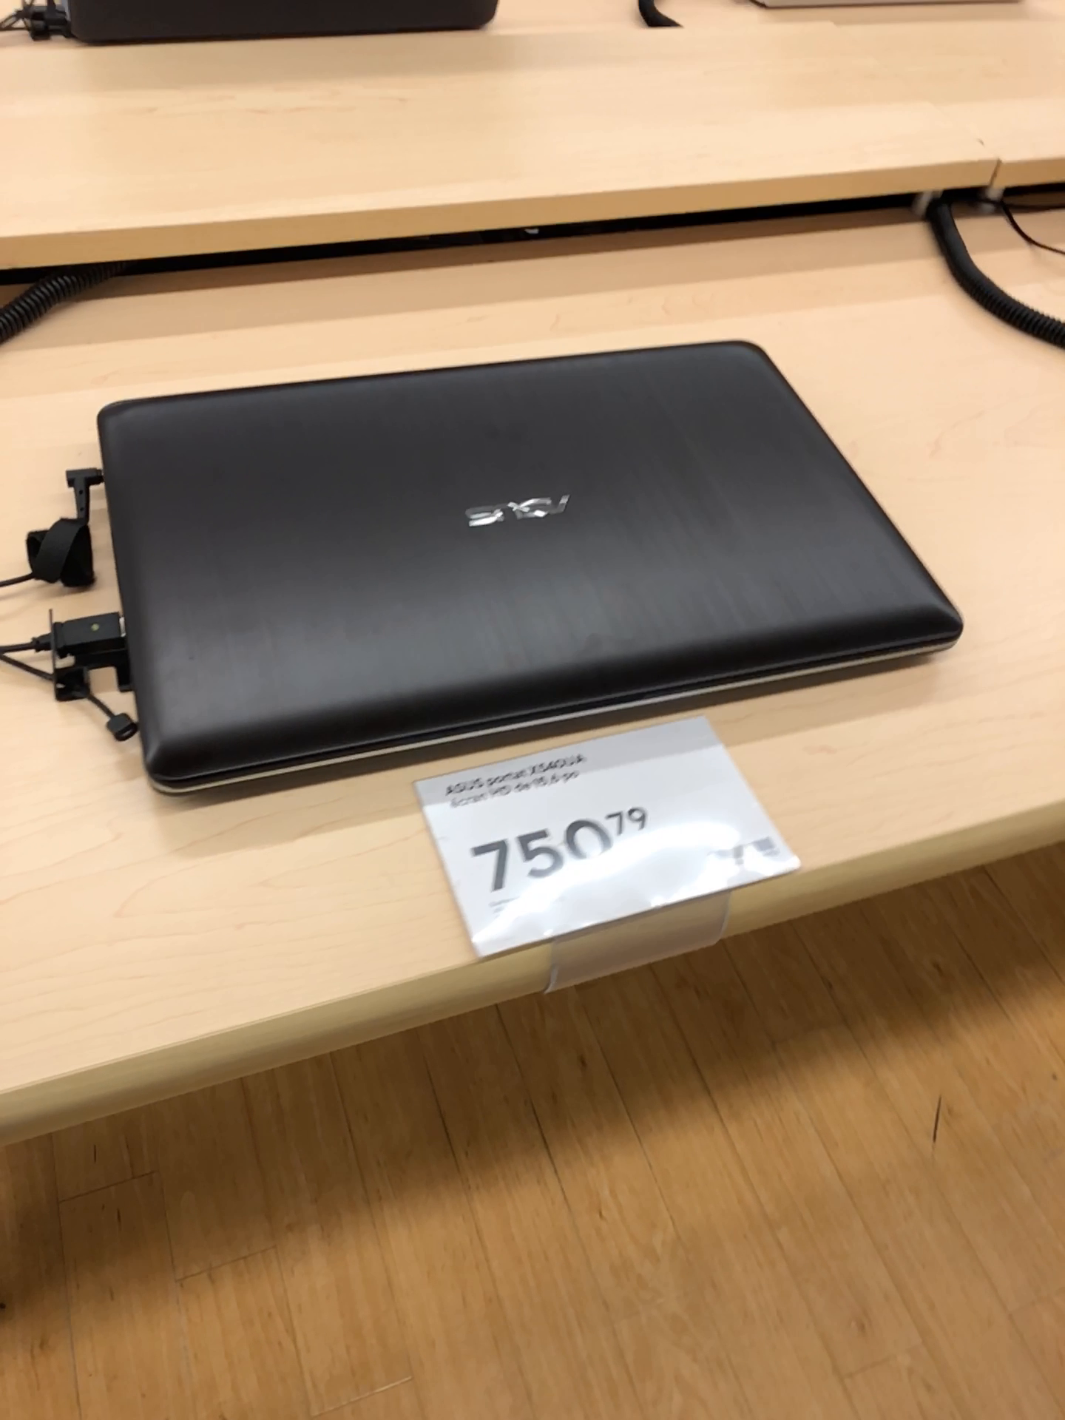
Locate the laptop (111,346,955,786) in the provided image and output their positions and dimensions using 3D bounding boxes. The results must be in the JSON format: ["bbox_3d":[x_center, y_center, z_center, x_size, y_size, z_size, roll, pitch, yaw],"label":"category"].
[{"bbox_3d":[-0.005,-0.093,0.580,0.369,0.010,0.228,-10,54,-16],"label":"laptop"}]
